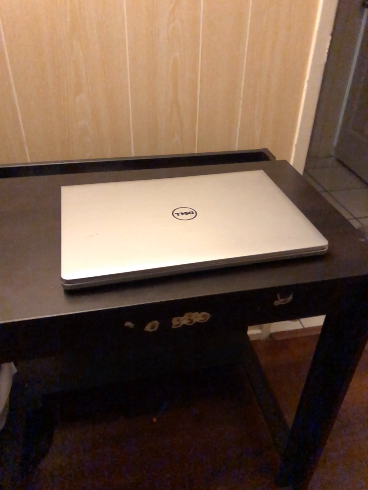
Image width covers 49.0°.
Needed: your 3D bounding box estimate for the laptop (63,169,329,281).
[{"bbox_3d":[-0.002,-0.051,0.643,0.370,0.003,0.251,-7,37,-11],"label":"laptop"}]
